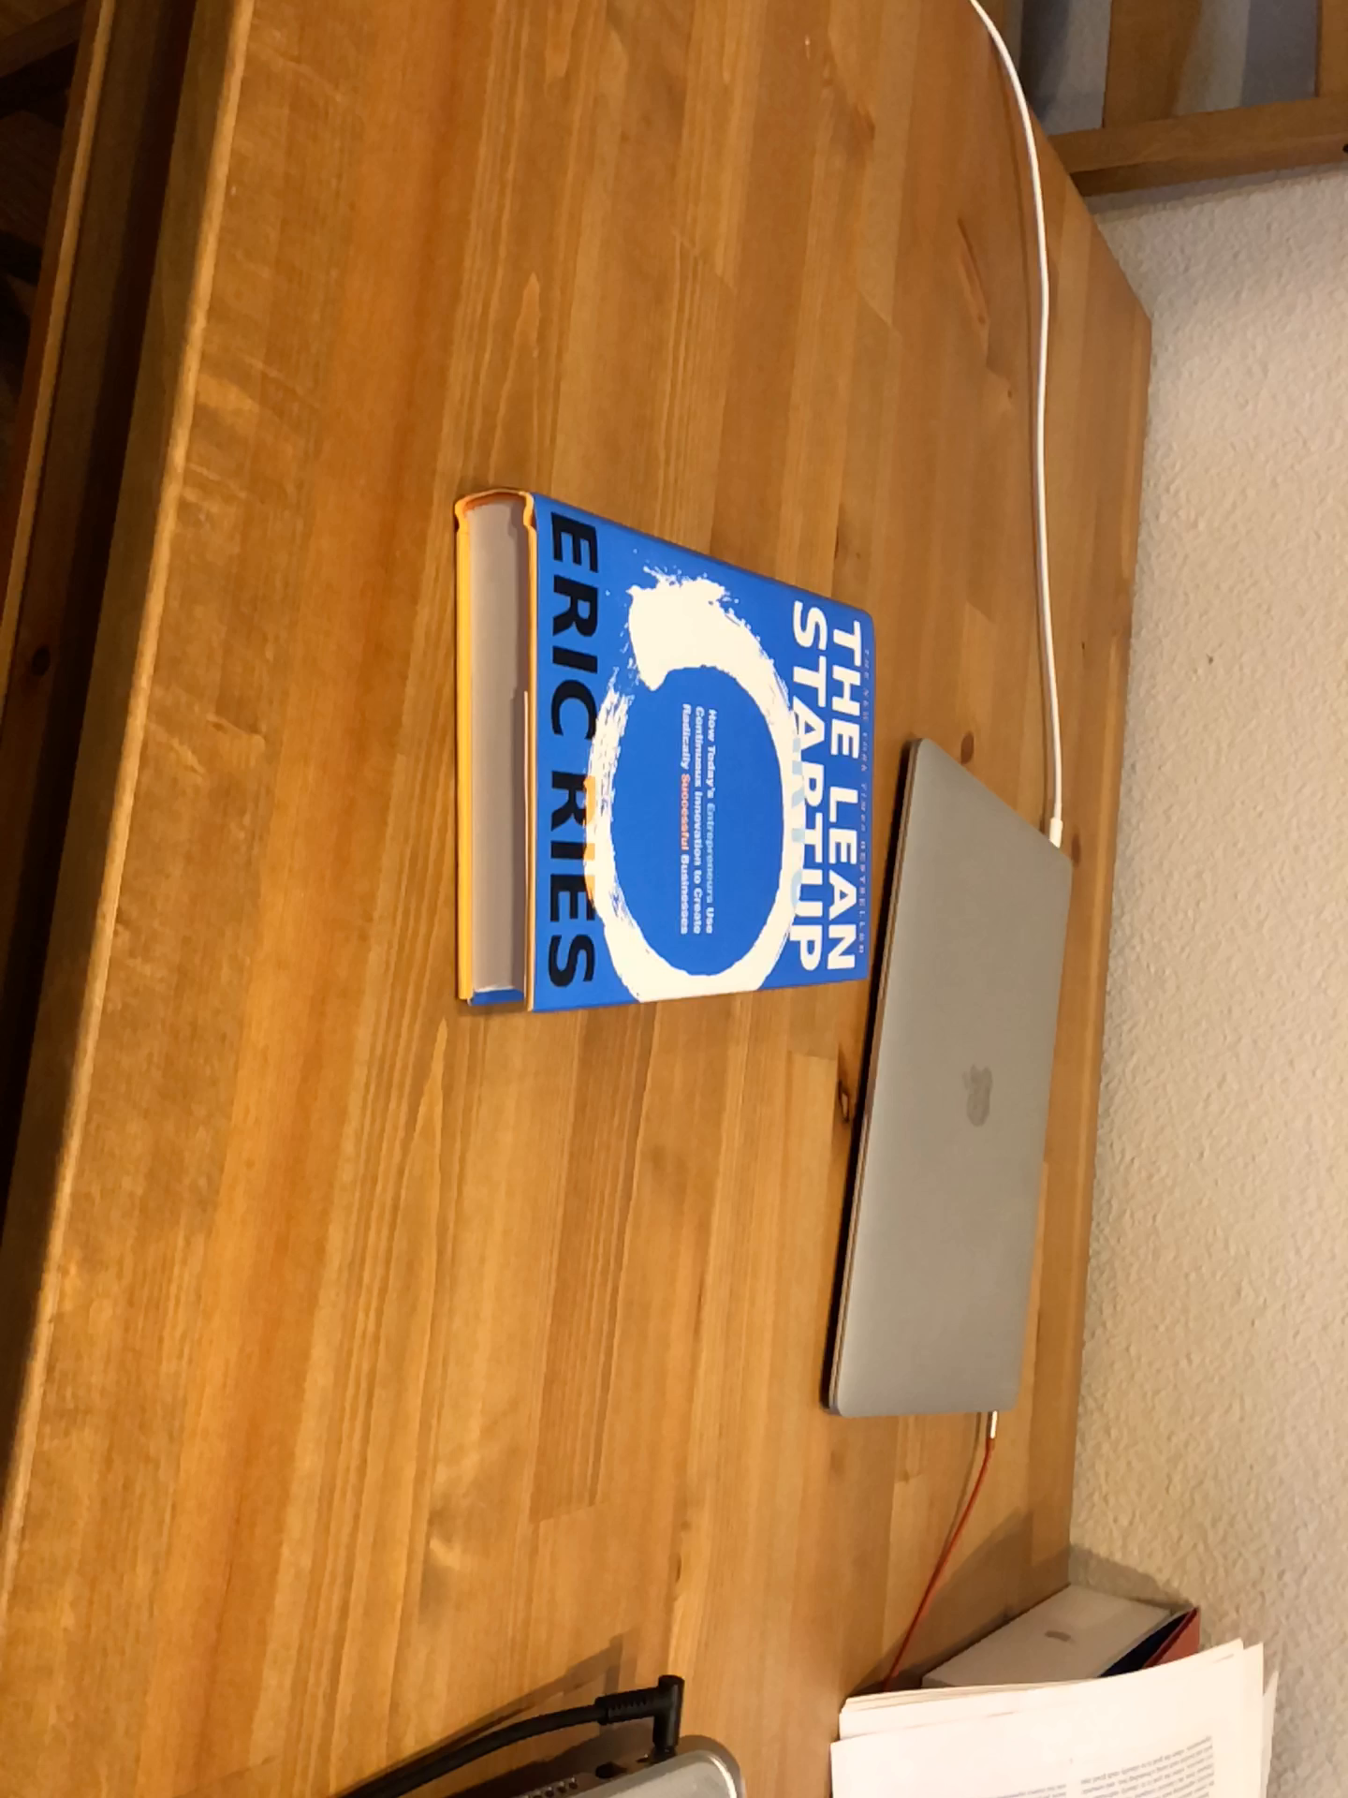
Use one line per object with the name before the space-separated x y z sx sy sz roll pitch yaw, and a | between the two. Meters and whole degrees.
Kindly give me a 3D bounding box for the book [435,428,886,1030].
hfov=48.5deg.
book | 0.007 -0.045 0.498 0.211 0.040 0.160 0 91 -57
